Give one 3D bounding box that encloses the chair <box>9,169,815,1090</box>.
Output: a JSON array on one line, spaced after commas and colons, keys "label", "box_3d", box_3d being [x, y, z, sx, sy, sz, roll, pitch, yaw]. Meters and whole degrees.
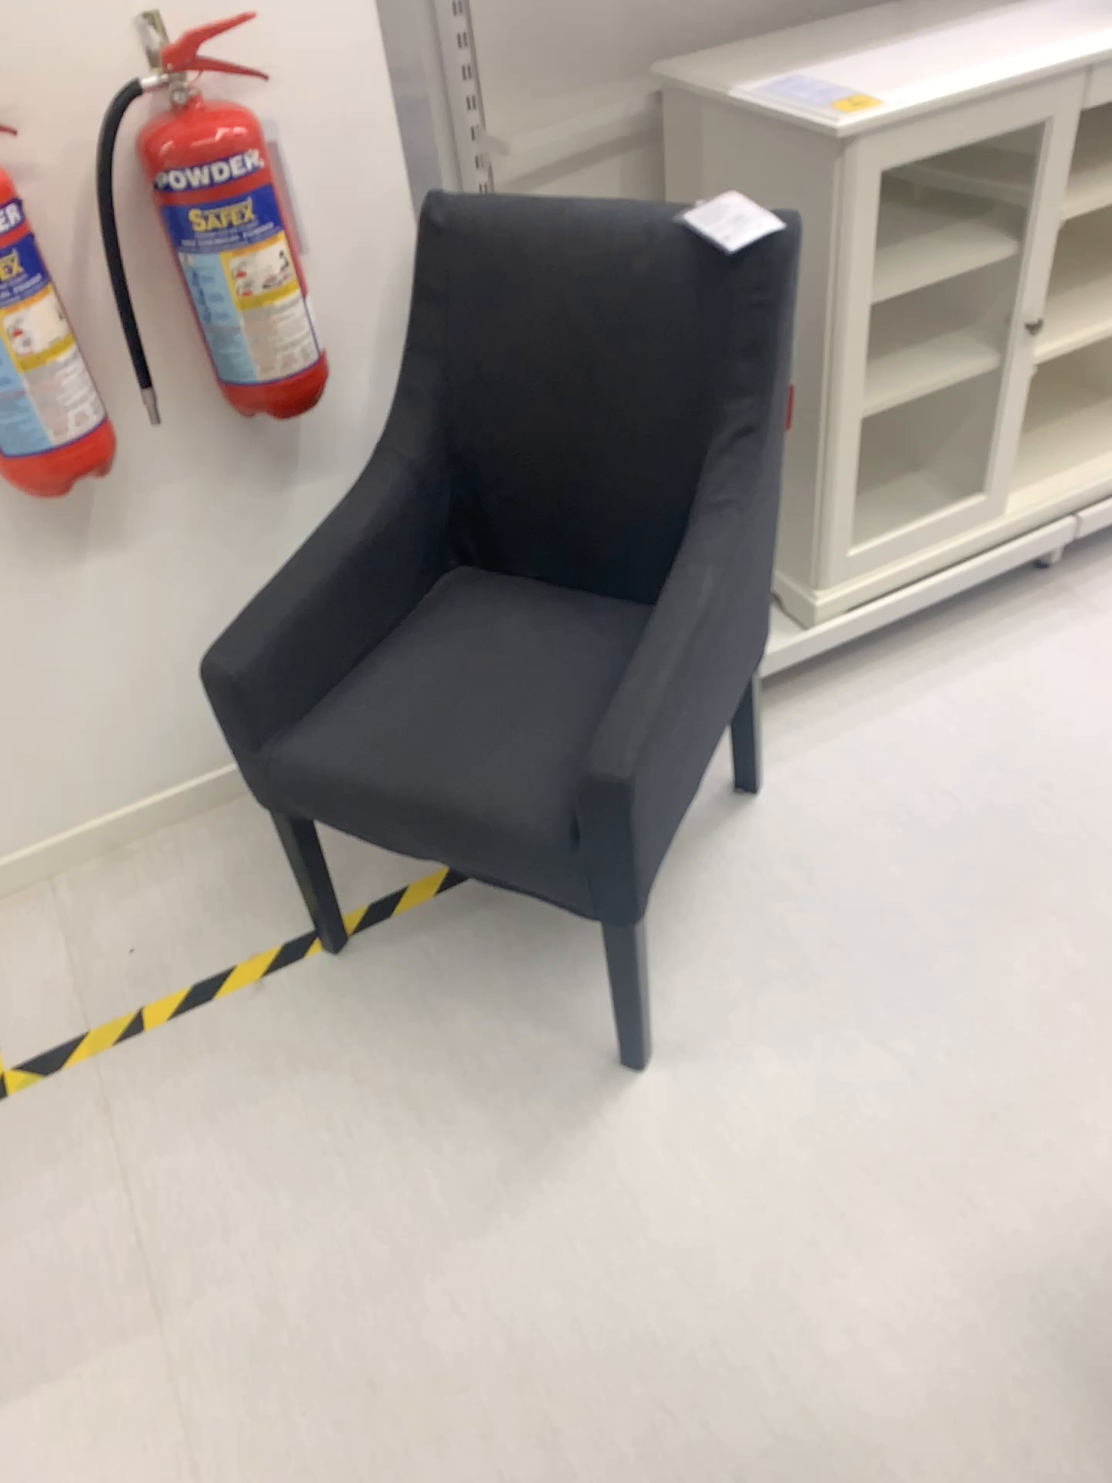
[{"label": "chair", "box_3d": [-0.077, -0.152, 1.485, 0.611, 0.916, 0.631, 15, 48, 24]}]
